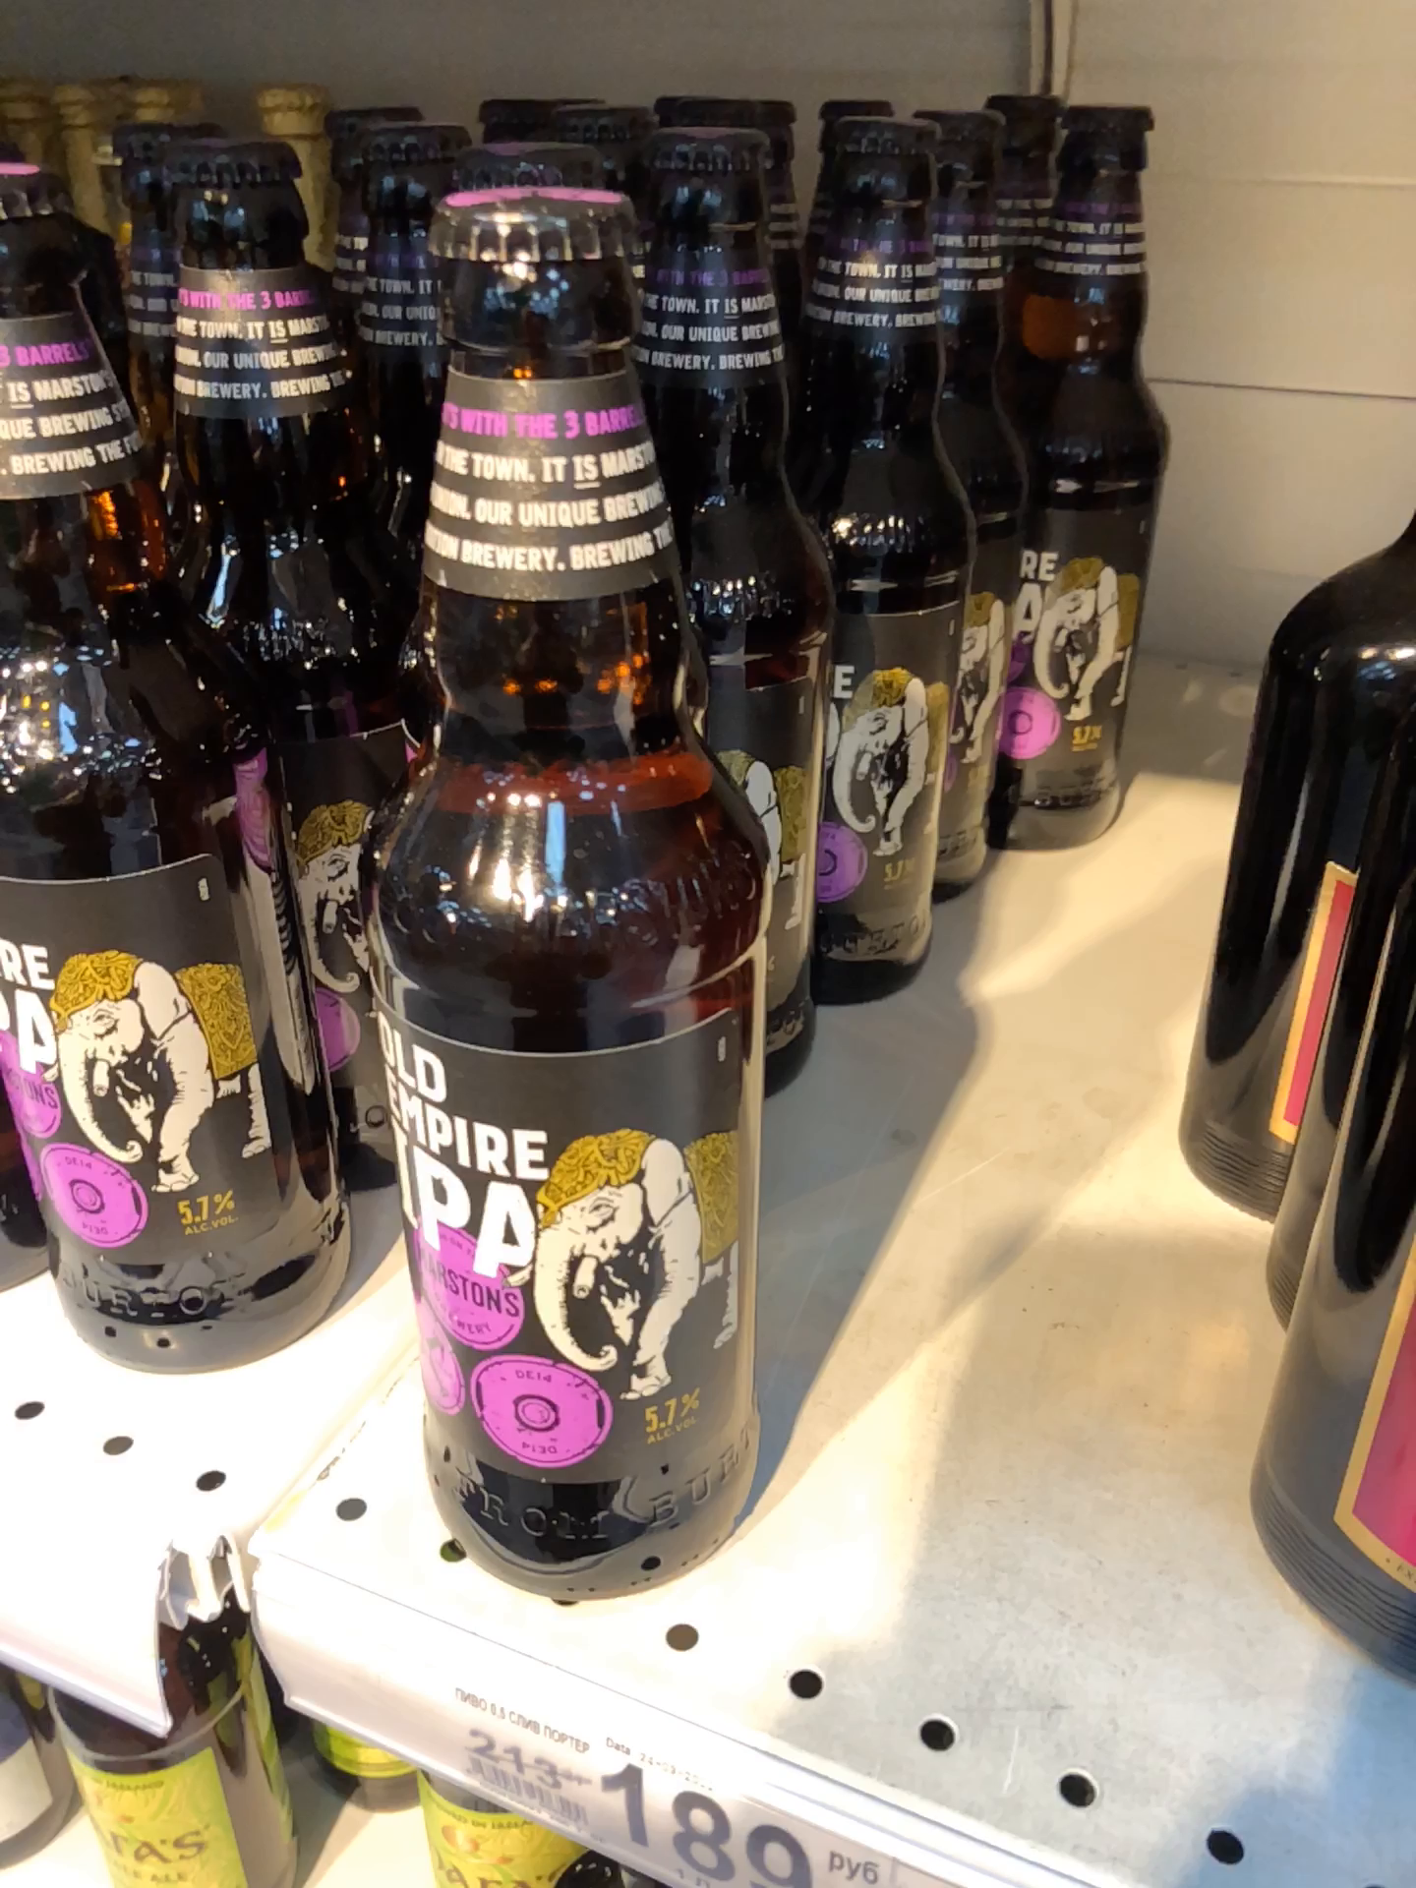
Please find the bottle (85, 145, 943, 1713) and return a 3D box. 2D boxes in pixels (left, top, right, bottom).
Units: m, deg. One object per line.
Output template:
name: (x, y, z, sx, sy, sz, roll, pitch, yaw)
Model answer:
bottle: (-0.021, 0.002, 0.263, 0.080, 0.239, 0.080, 0, 29, 0)
